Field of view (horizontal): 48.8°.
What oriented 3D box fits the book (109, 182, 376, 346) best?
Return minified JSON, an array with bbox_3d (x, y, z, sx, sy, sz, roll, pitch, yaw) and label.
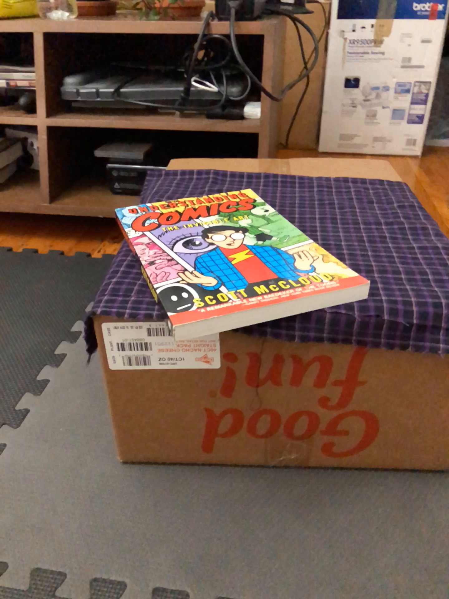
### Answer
[{"bbox_3d":[-0.005,-0.056,0.487,0.170,0.020,0.271,-12,33,-17],"label":"book"}]
